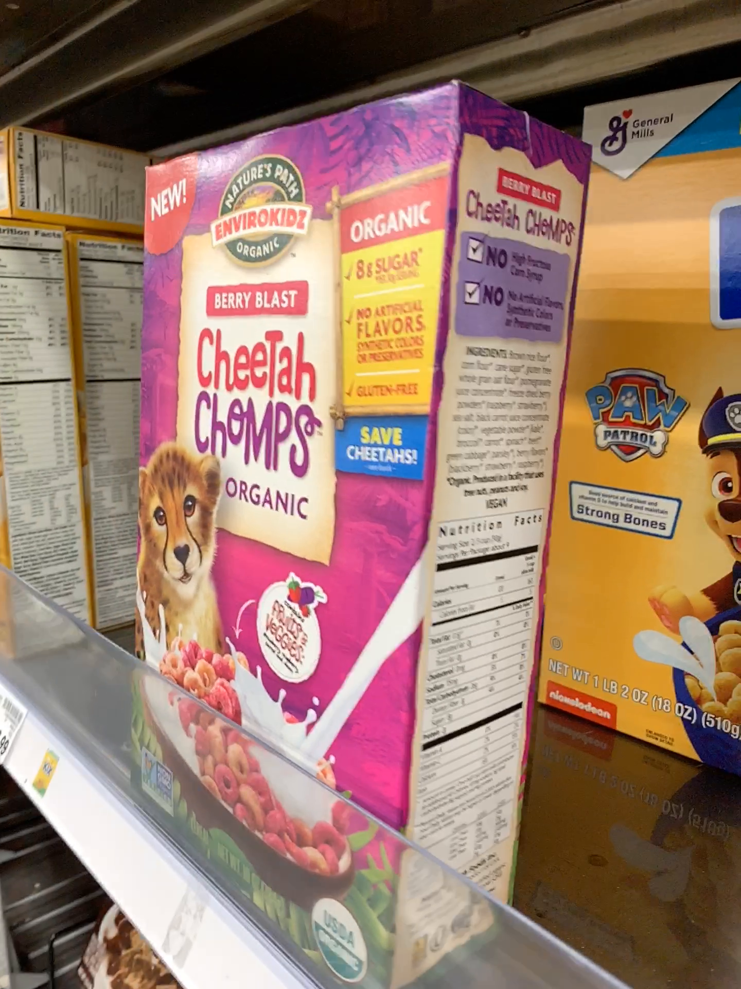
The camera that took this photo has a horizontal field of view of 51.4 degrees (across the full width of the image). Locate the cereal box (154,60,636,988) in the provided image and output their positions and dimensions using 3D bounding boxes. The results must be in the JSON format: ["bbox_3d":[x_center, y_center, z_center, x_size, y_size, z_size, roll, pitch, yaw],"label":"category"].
[{"bbox_3d":[-0.010,0.016,0.279,0.060,0.269,0.160,-4,12,-42],"label":"cereal box"}]
